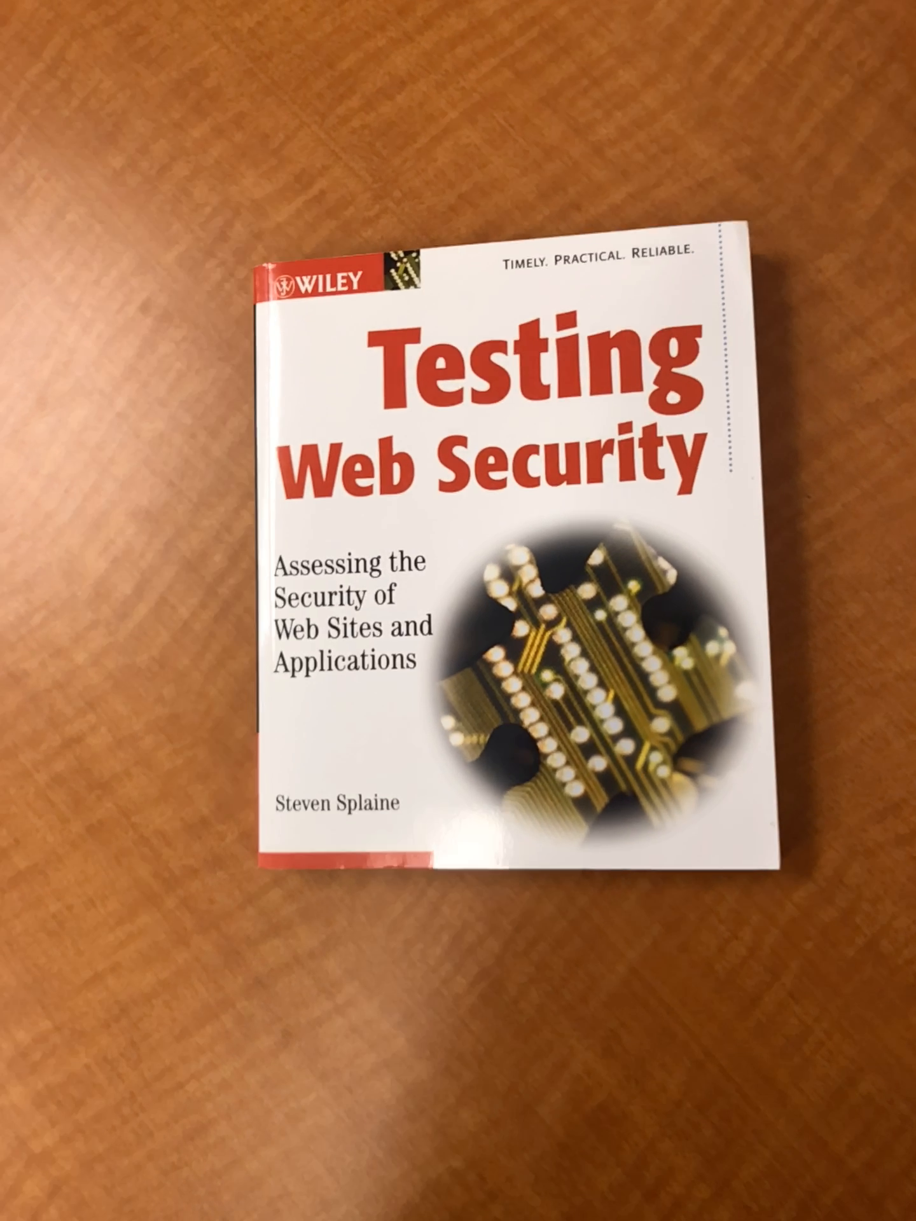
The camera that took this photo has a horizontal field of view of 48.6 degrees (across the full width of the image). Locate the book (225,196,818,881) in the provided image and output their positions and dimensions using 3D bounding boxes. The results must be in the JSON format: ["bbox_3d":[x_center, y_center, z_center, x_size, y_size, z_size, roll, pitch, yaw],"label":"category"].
[{"bbox_3d":[0.017,-0.023,0.367,0.200,0.030,0.230,-2,85,9],"label":"book"}]
